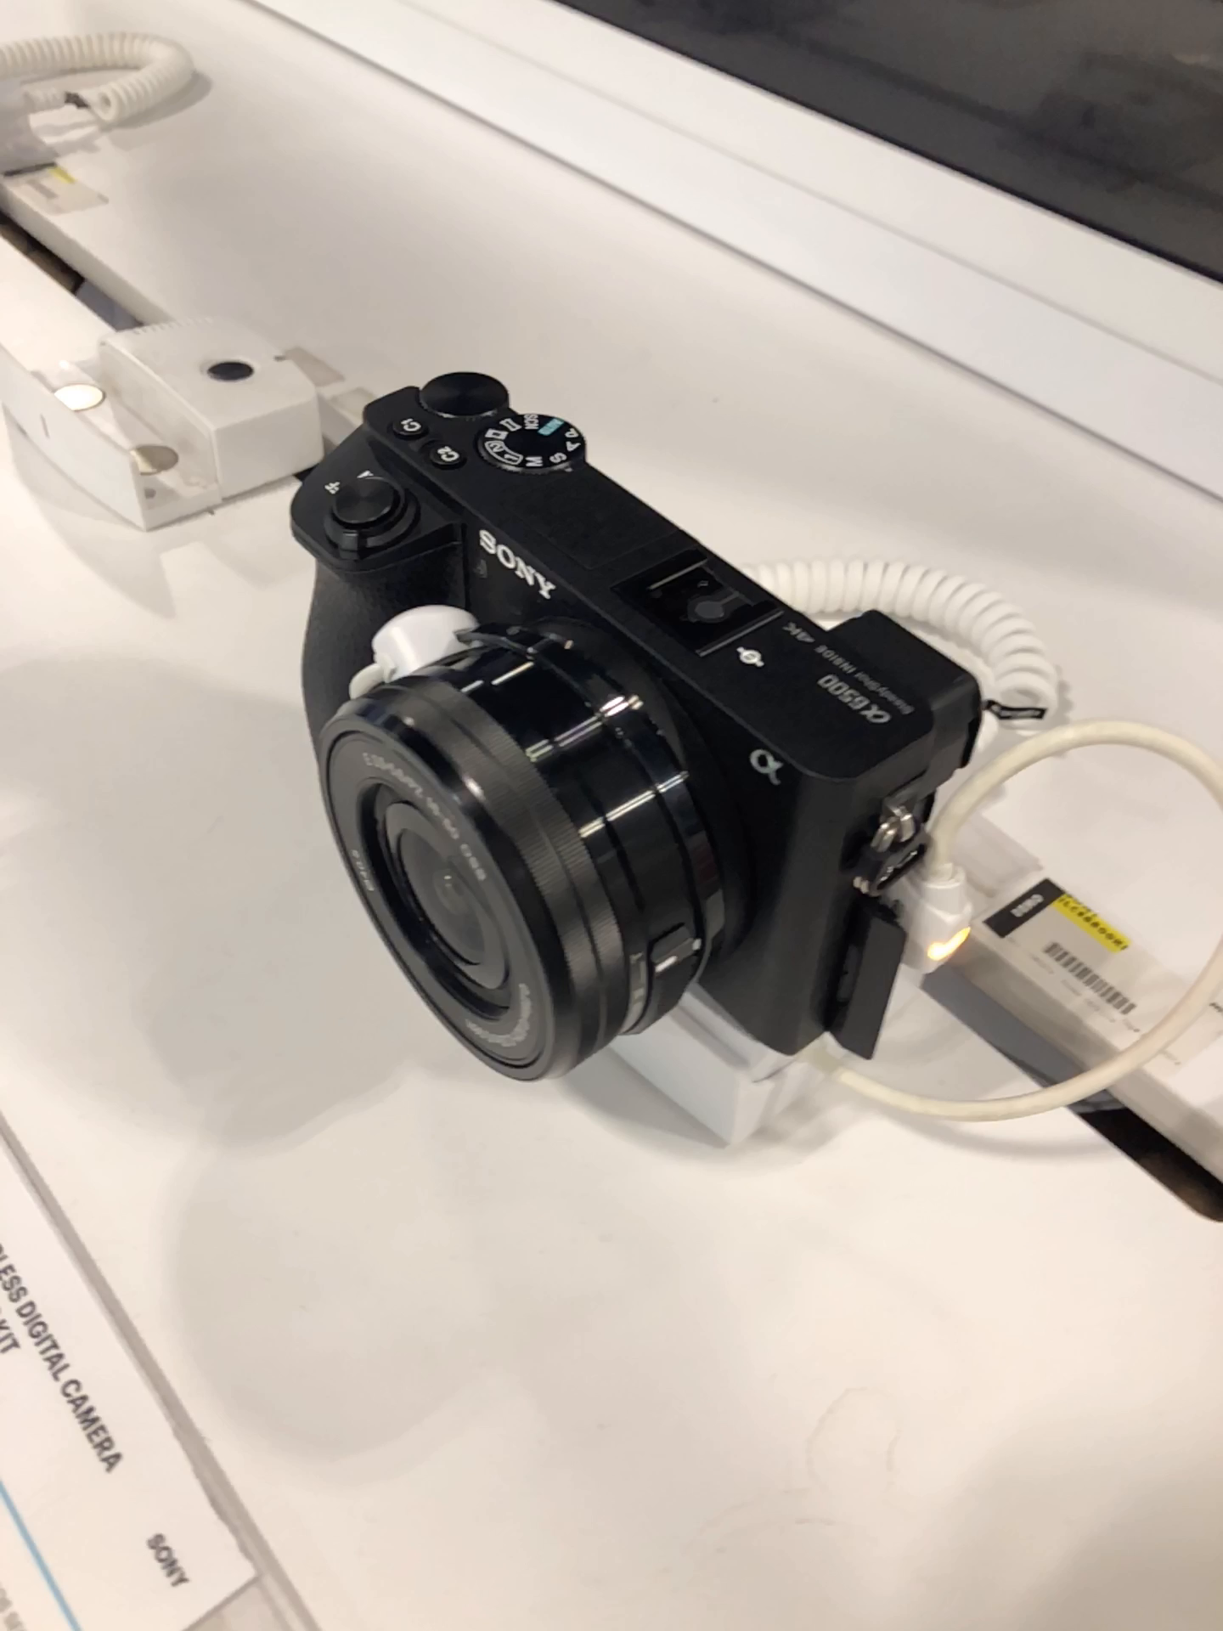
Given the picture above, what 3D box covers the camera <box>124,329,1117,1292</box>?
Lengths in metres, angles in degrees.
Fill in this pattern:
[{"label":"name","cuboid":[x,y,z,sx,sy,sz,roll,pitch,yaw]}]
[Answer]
[{"label":"camera","cuboid":[-0.007,-0.010,0.224,0.070,0.070,0.141,-31,56,-31]}]
